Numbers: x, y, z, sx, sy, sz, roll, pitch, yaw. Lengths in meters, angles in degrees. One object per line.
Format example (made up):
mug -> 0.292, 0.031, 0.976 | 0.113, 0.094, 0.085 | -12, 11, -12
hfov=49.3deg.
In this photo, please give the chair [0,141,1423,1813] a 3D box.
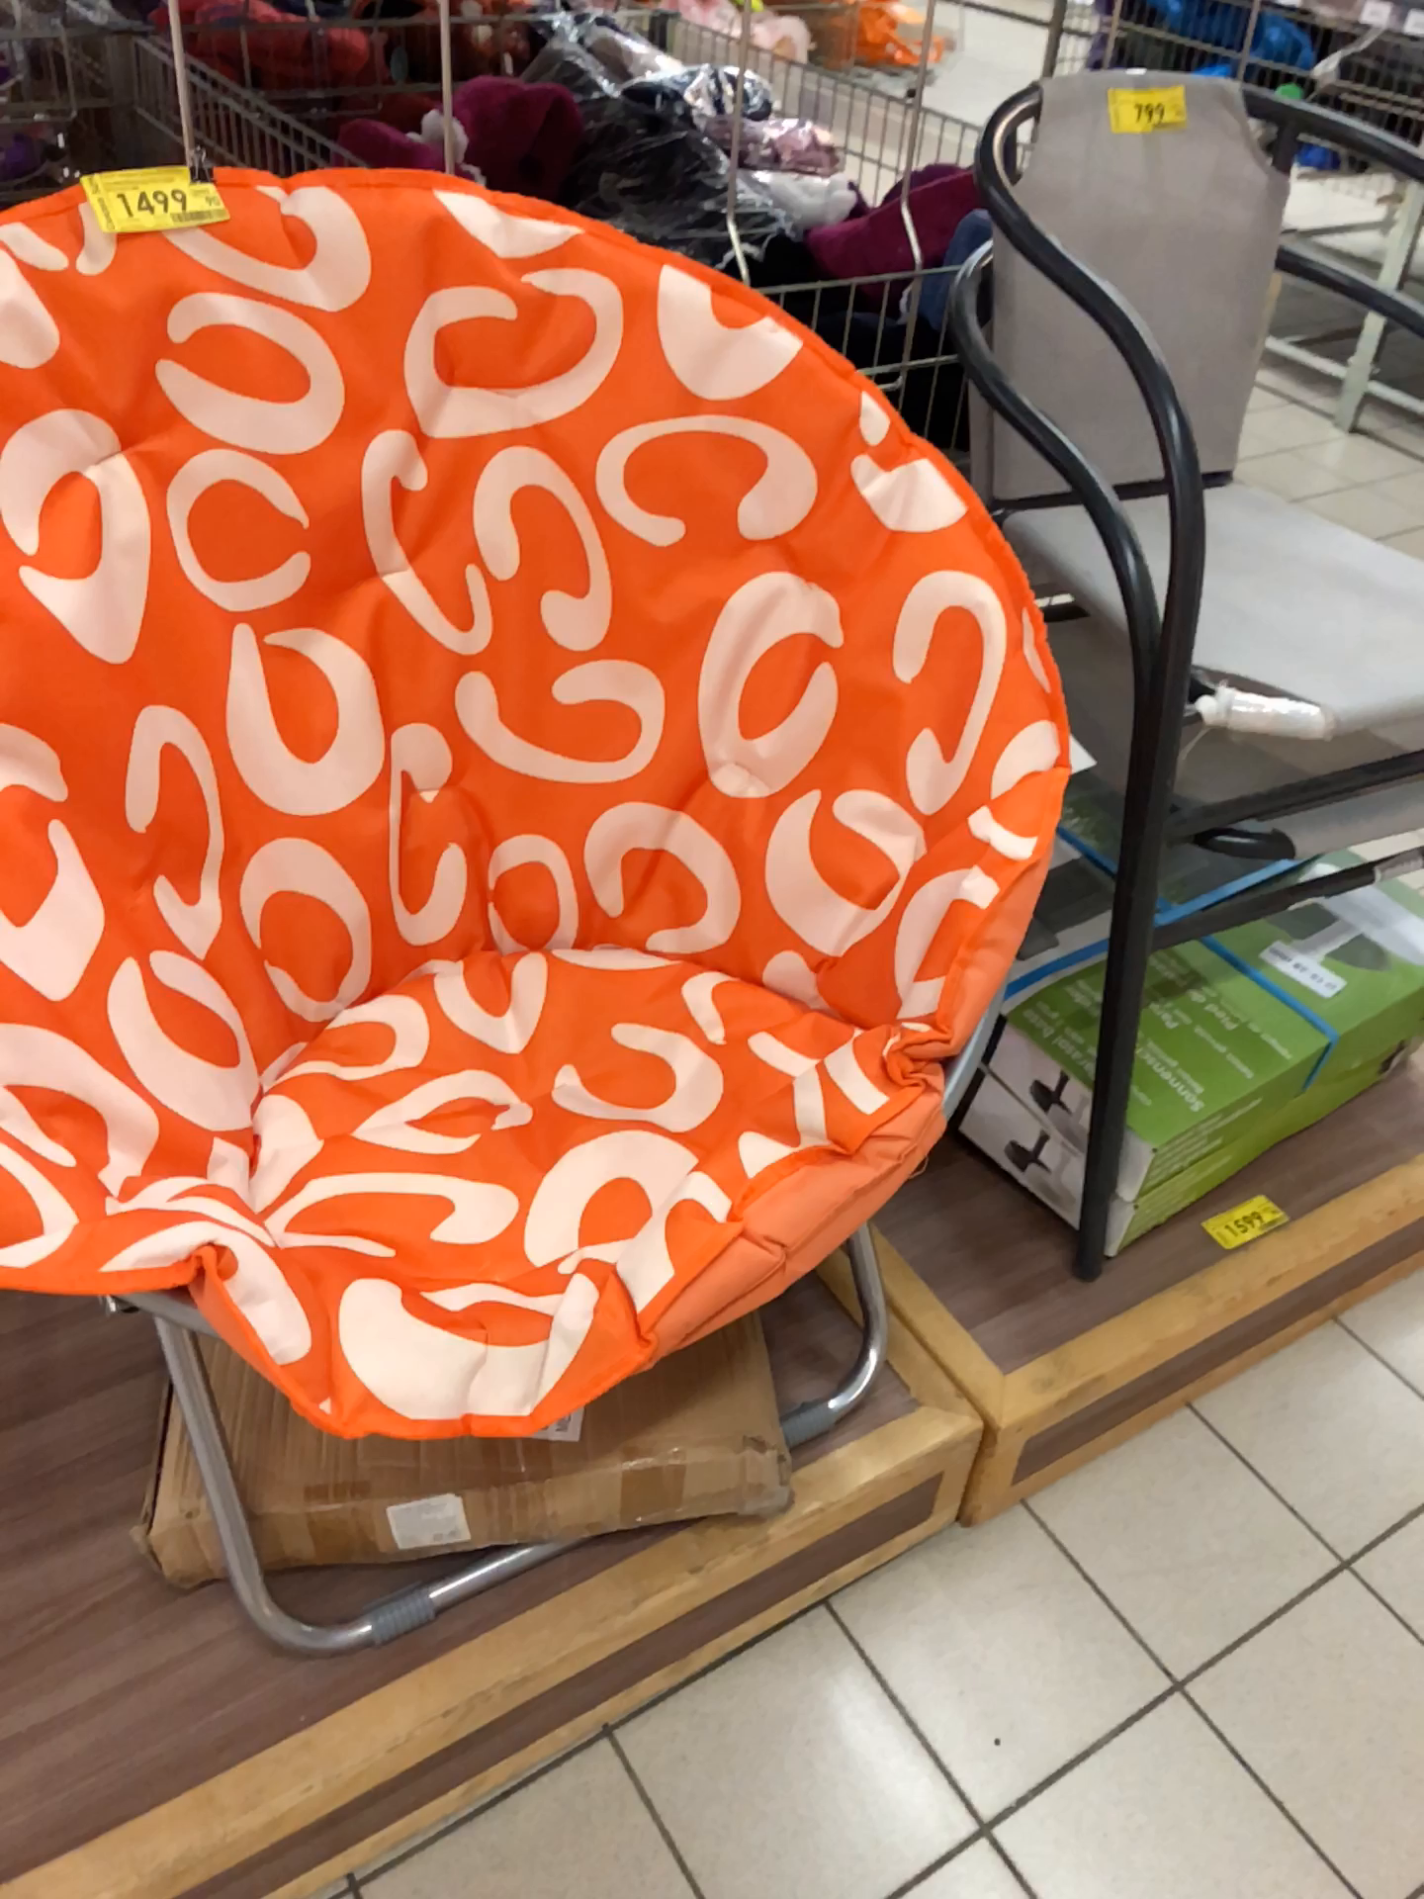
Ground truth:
chair -> -0.153, -0.094, 1.004 | 0.735, 0.605, 0.713 | -17, 43, -25
